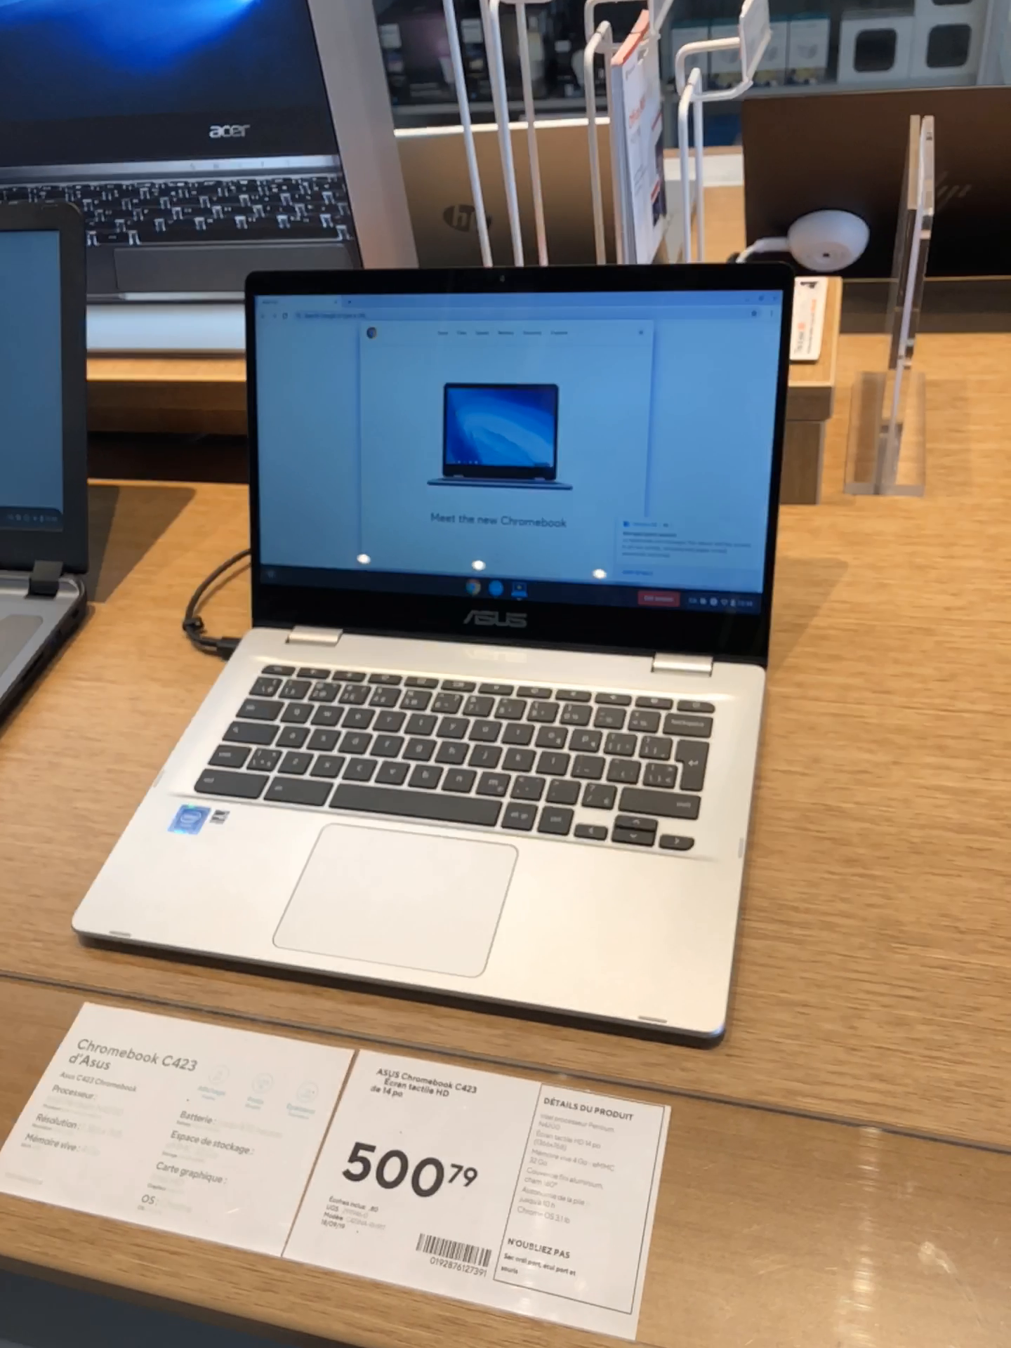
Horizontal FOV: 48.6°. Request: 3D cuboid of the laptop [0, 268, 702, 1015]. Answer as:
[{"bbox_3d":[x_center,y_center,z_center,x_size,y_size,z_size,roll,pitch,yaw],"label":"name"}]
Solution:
[{"bbox_3d":[-0.053,-0.046,0.565,0.281,0.186,0.337,4,43,12],"label":"laptop"}]
